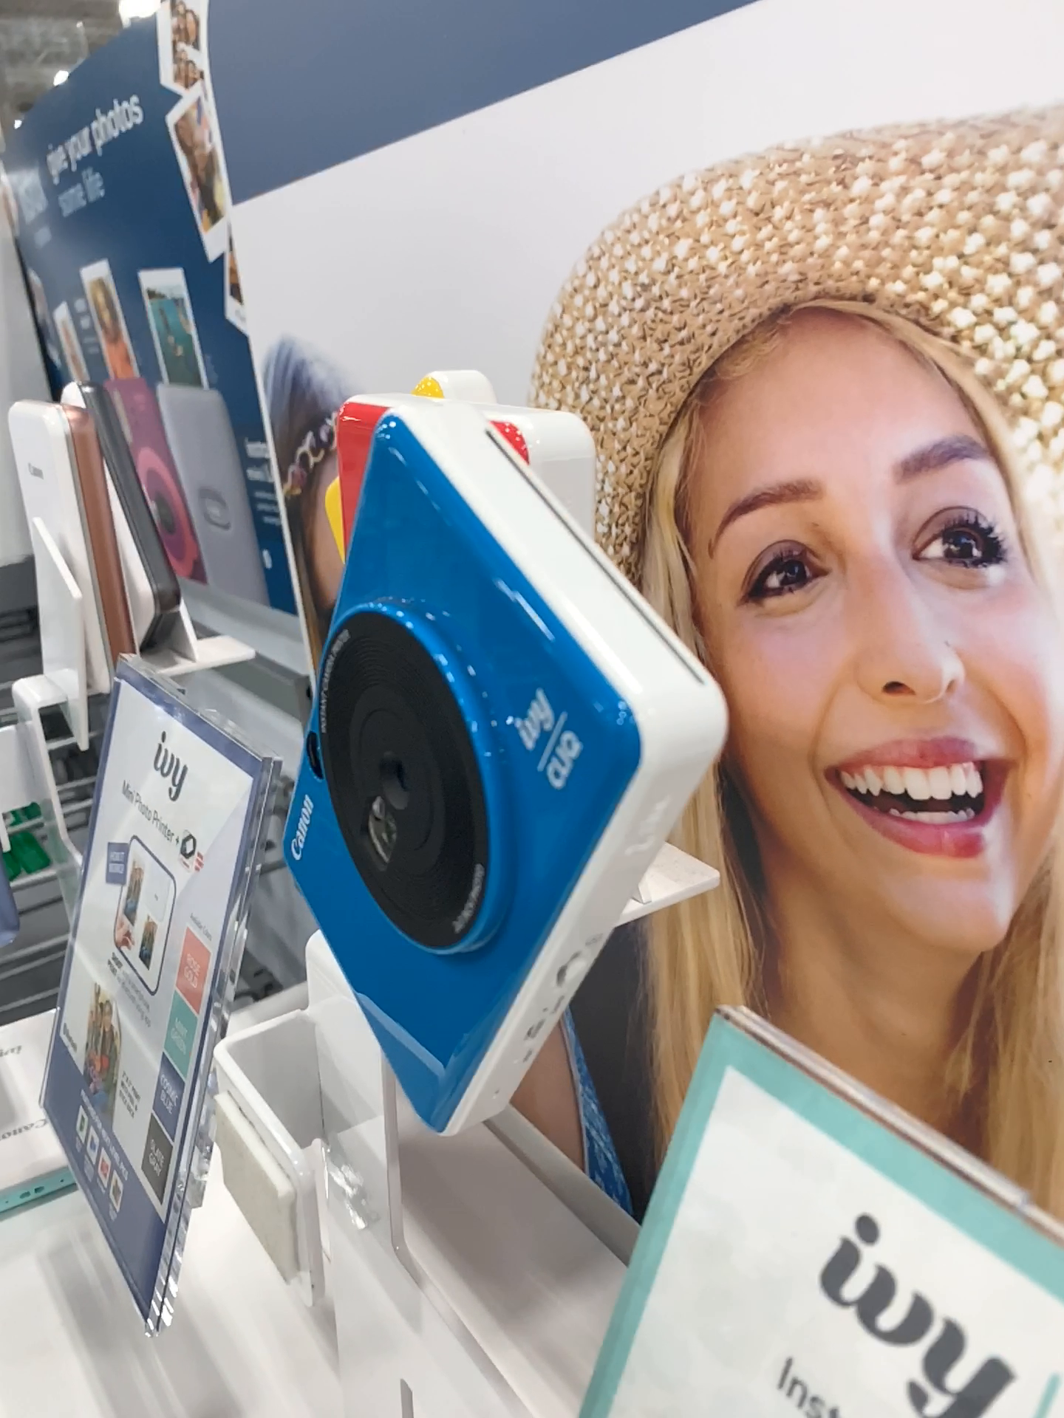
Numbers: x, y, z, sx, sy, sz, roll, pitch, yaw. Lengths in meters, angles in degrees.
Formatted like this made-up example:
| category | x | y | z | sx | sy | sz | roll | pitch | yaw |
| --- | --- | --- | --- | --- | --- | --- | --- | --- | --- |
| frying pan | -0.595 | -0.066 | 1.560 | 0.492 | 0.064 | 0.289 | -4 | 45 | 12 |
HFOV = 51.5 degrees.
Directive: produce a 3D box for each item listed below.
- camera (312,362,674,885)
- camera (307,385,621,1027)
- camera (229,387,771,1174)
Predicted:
| category | x | y | z | sx | sy | sz | roll | pitch | yaw |
| --- | --- | --- | --- | --- | --- | --- | --- | --- | --- |
| camera | -0.015 | -0.018 | 0.295 | 0.030 | 0.123 | 0.068 | -21 | -2 | -26 |
| camera | -0.015 | -0.004 | 0.242 | 0.030 | 0.123 | 0.067 | -16 | 25 | -27 |
| camera | -0.018 | 0.017 | 0.191 | 0.030 | 0.113 | 0.078 | -16 | 55 | -33 |
